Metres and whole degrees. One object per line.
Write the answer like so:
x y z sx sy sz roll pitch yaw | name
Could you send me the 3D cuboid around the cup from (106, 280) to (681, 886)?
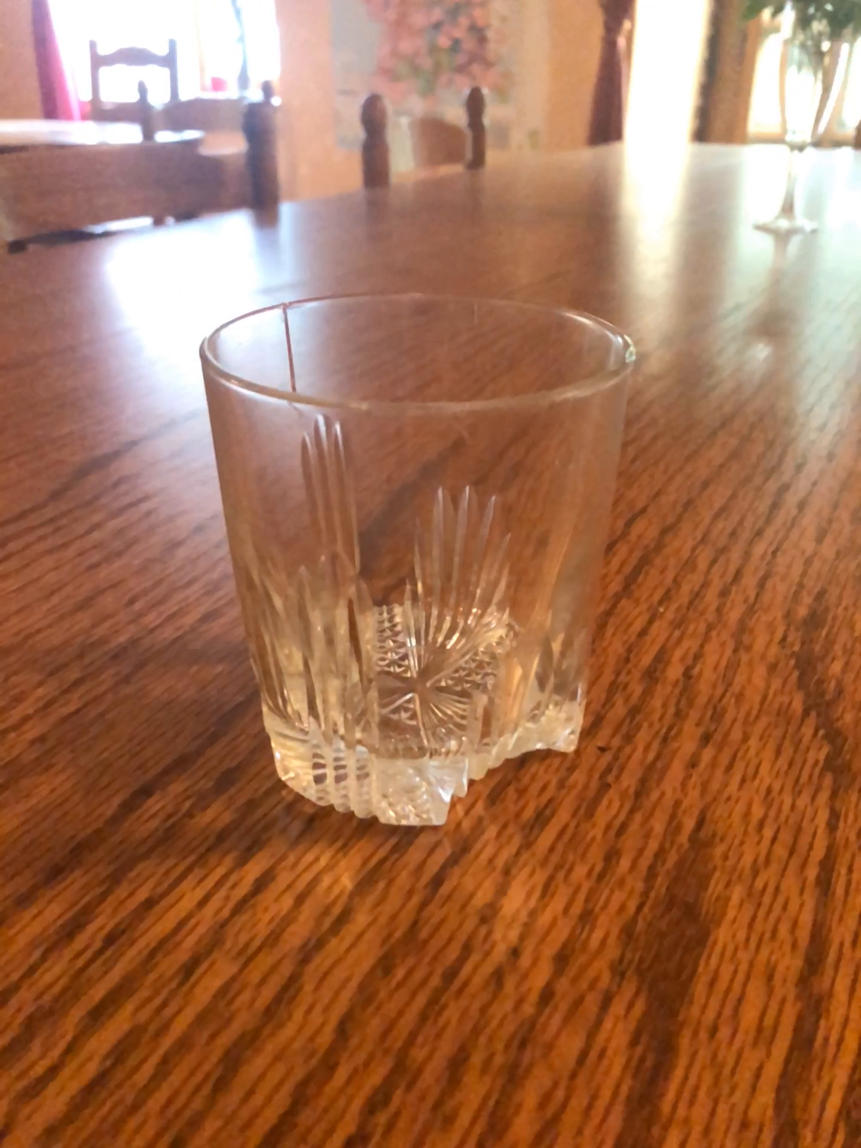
0.000 -0.007 0.198 0.080 0.084 0.085 0 27 0 | cup
